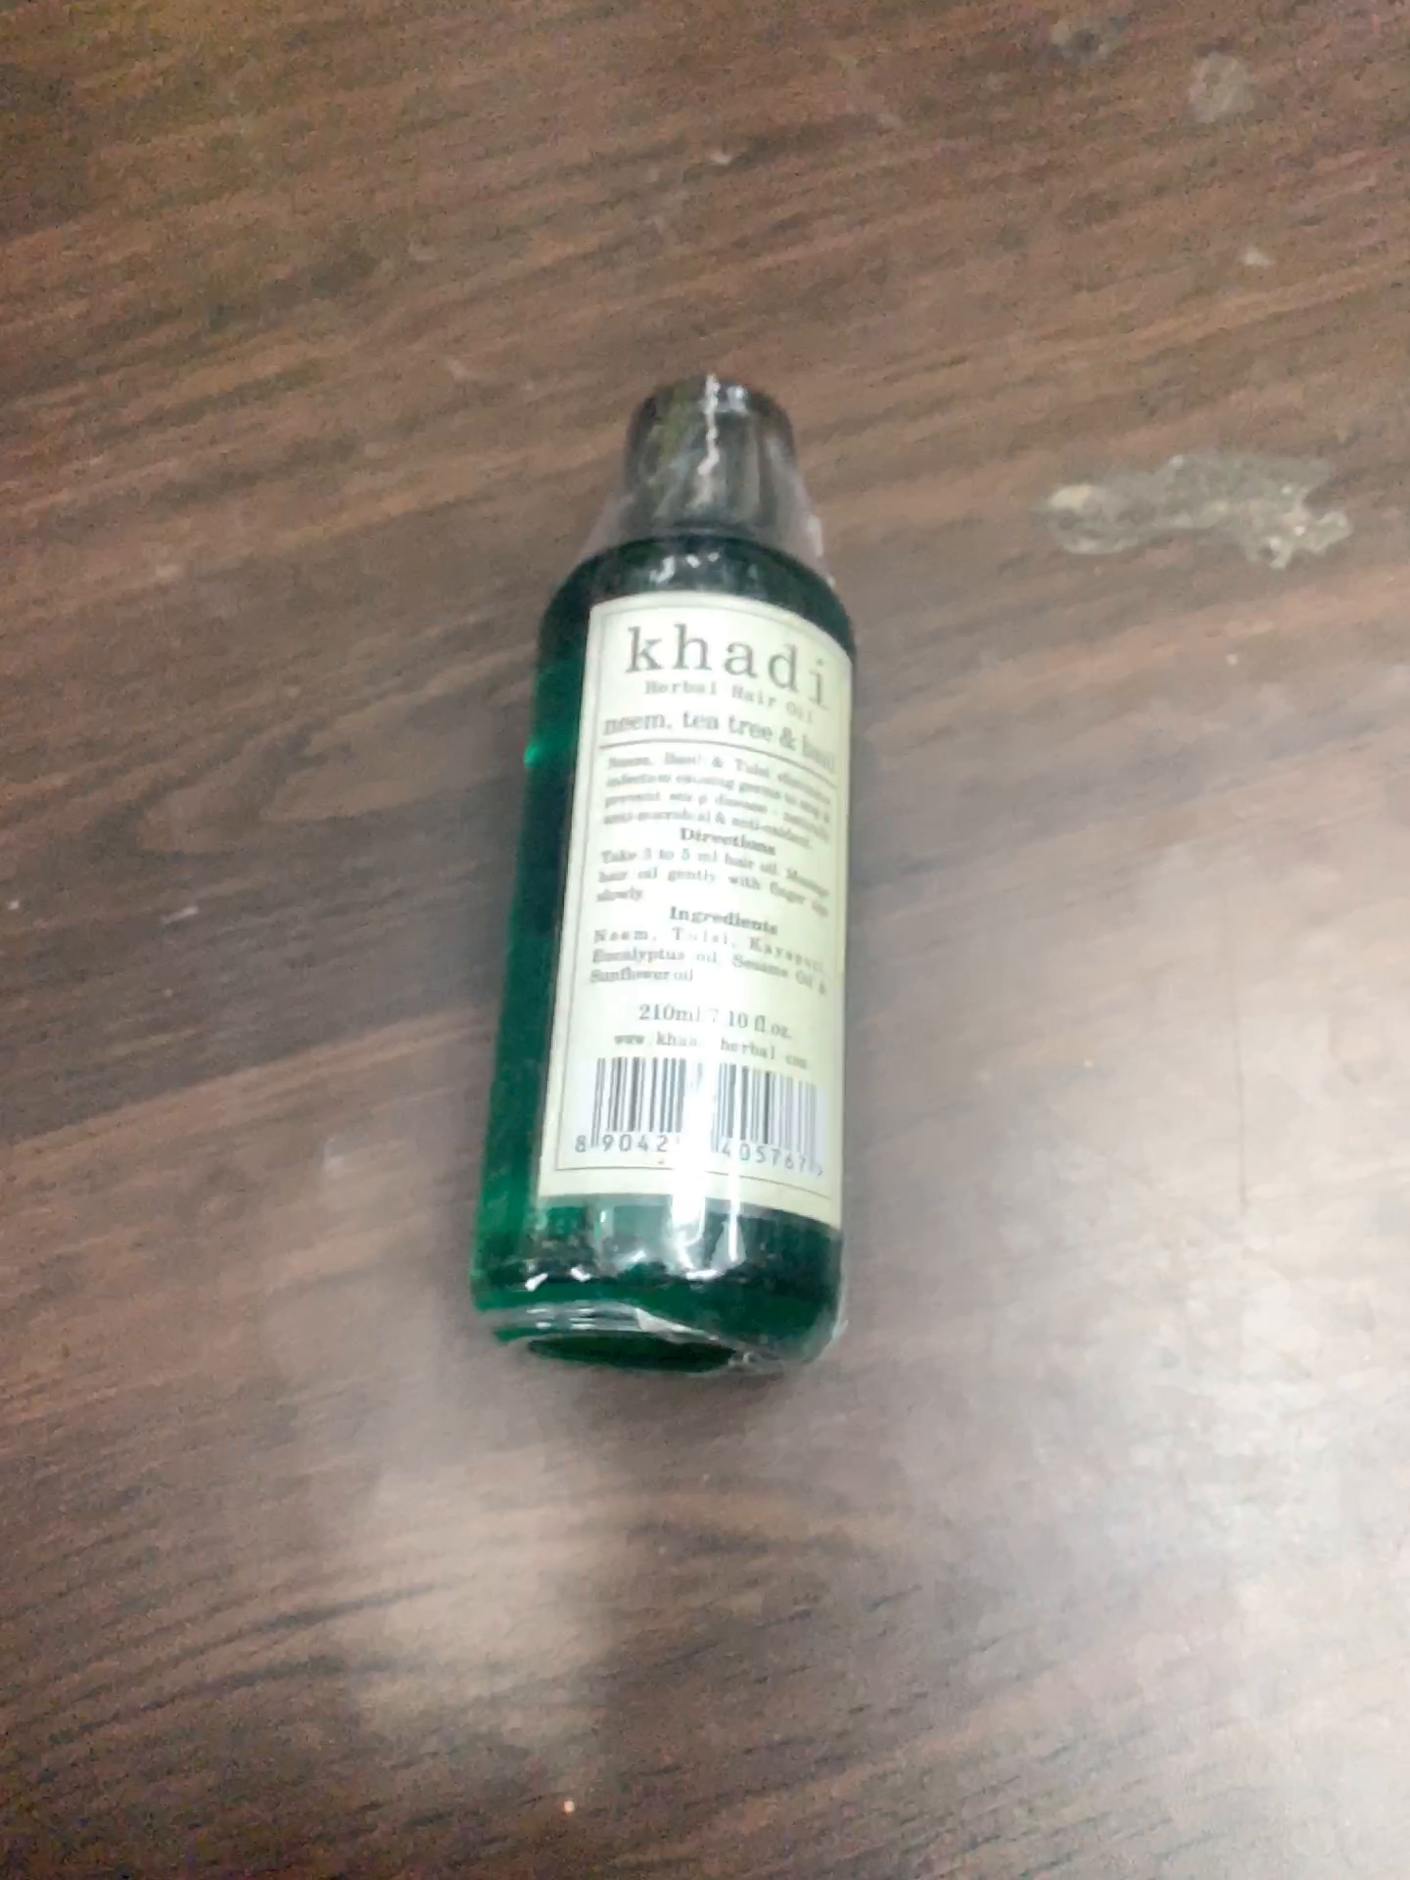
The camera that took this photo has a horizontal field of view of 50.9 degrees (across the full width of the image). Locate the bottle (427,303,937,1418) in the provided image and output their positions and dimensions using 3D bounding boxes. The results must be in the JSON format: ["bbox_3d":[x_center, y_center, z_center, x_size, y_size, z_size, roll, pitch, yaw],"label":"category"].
[{"bbox_3d":[-0.002,-0.011,0.219,0.050,0.050,0.150,12,66,-21],"label":"bottle"}]
